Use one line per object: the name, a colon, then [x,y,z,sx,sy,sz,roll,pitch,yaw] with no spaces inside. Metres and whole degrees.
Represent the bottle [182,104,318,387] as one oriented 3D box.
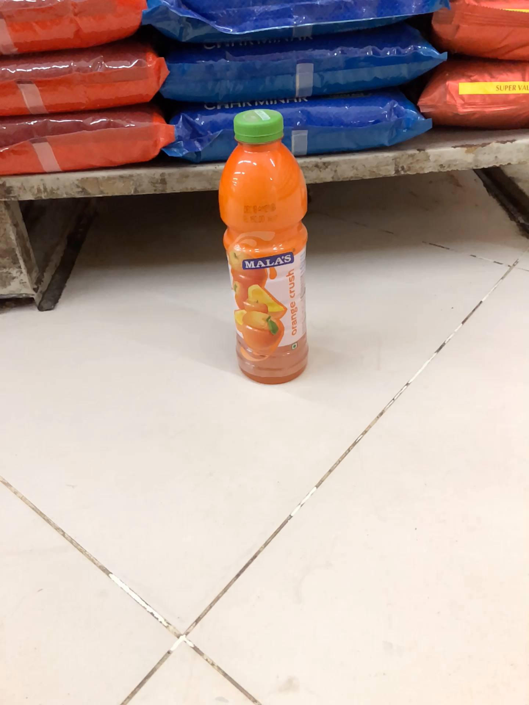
bottle: [-0.001,-0.089,0.536,0.090,0.238,0.091,-3,39,3]
